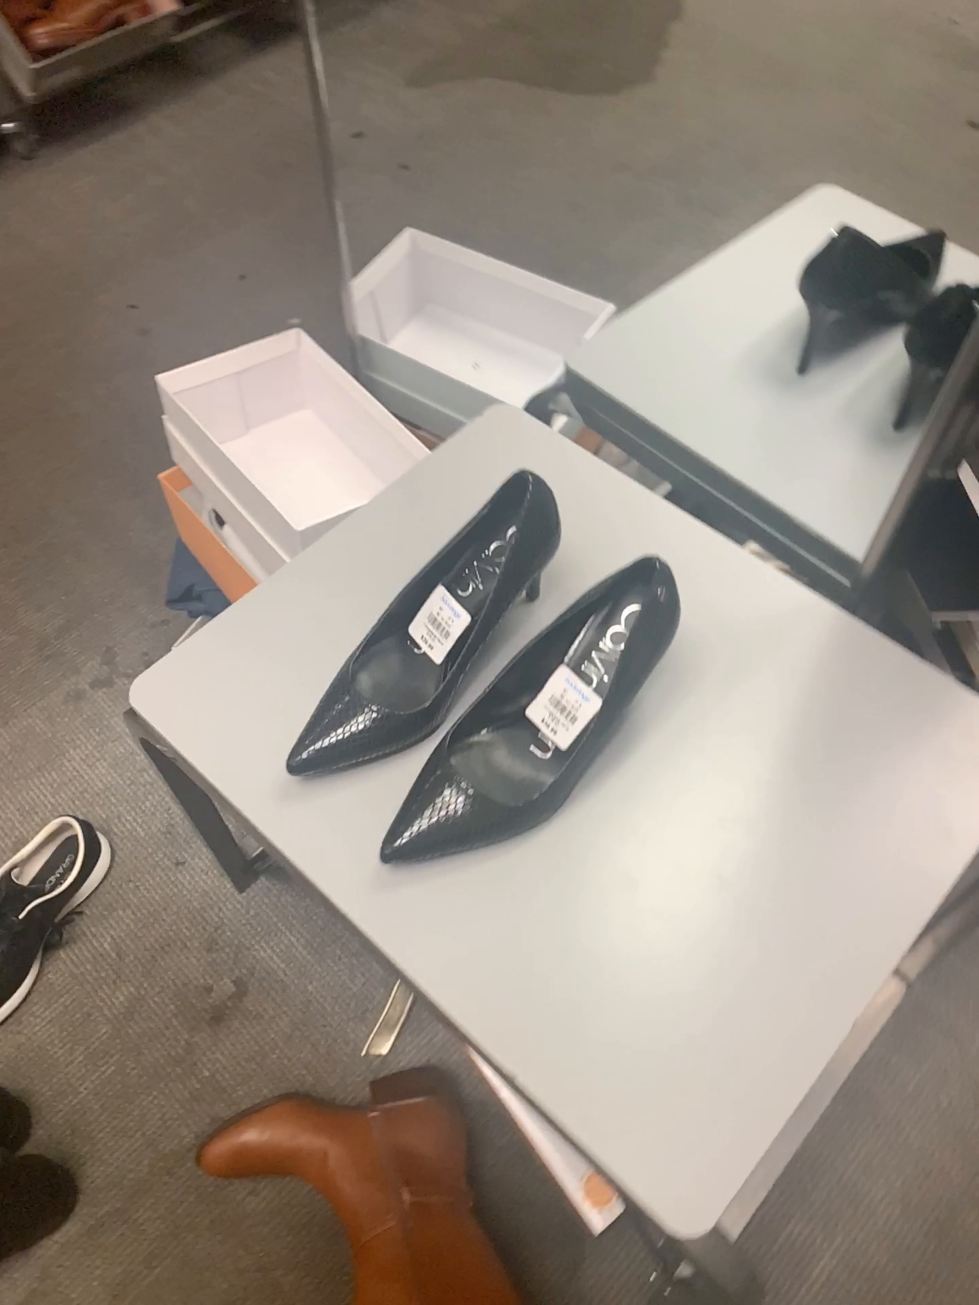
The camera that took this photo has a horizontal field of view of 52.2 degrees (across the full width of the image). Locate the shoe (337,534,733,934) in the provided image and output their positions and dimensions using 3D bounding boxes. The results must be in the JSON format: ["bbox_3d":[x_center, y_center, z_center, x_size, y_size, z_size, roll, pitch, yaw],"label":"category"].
[{"bbox_3d":[0.034,0.045,0.622,0.080,0.084,0.254,39,65,24],"label":"shoe"}]

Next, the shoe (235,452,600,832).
[{"bbox_3d":[-0.037,-0.013,0.663,0.080,0.085,0.254,34,63,22],"label":"shoe"}]
